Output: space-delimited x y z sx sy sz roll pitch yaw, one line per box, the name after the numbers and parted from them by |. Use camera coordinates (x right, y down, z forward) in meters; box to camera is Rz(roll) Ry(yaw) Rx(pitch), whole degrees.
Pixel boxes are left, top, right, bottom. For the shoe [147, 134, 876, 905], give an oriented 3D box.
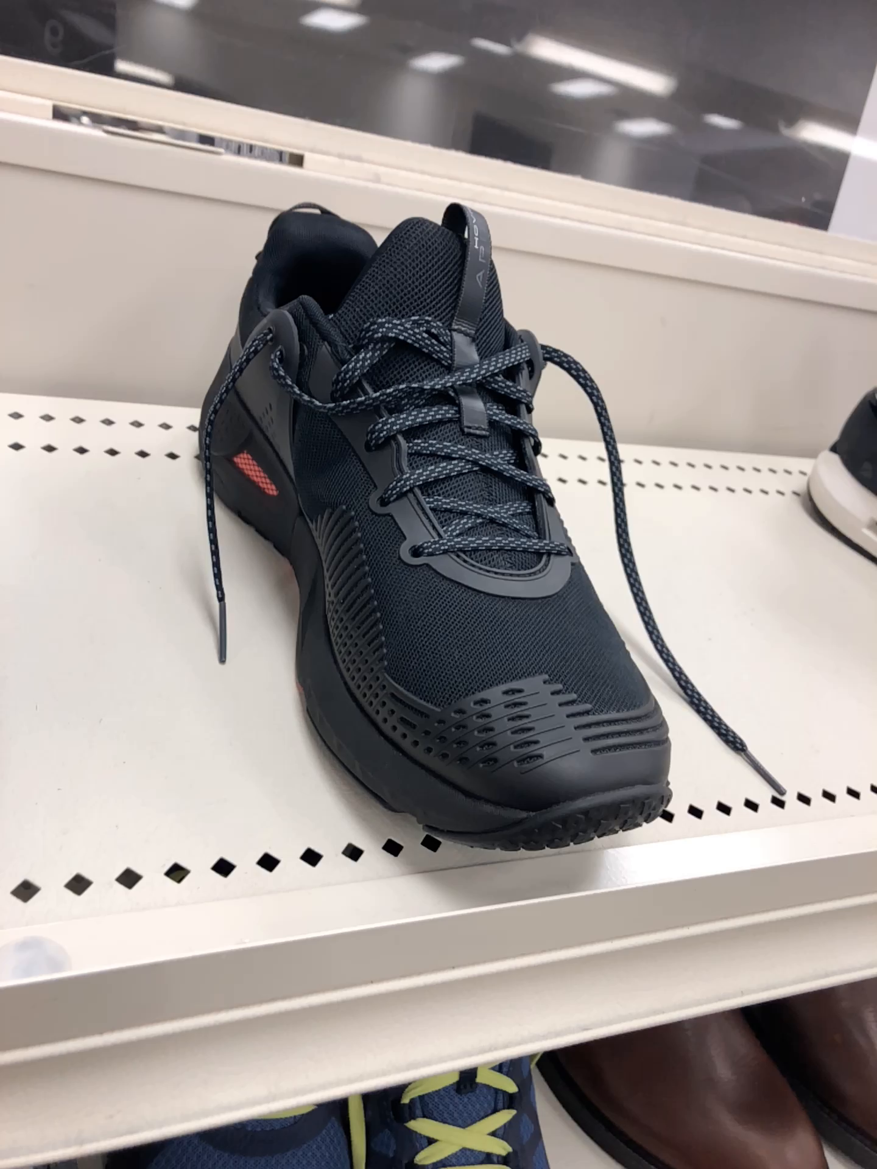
-0.015 -0.066 0.379 0.120 0.129 0.352 -1 31 -28 | shoe
